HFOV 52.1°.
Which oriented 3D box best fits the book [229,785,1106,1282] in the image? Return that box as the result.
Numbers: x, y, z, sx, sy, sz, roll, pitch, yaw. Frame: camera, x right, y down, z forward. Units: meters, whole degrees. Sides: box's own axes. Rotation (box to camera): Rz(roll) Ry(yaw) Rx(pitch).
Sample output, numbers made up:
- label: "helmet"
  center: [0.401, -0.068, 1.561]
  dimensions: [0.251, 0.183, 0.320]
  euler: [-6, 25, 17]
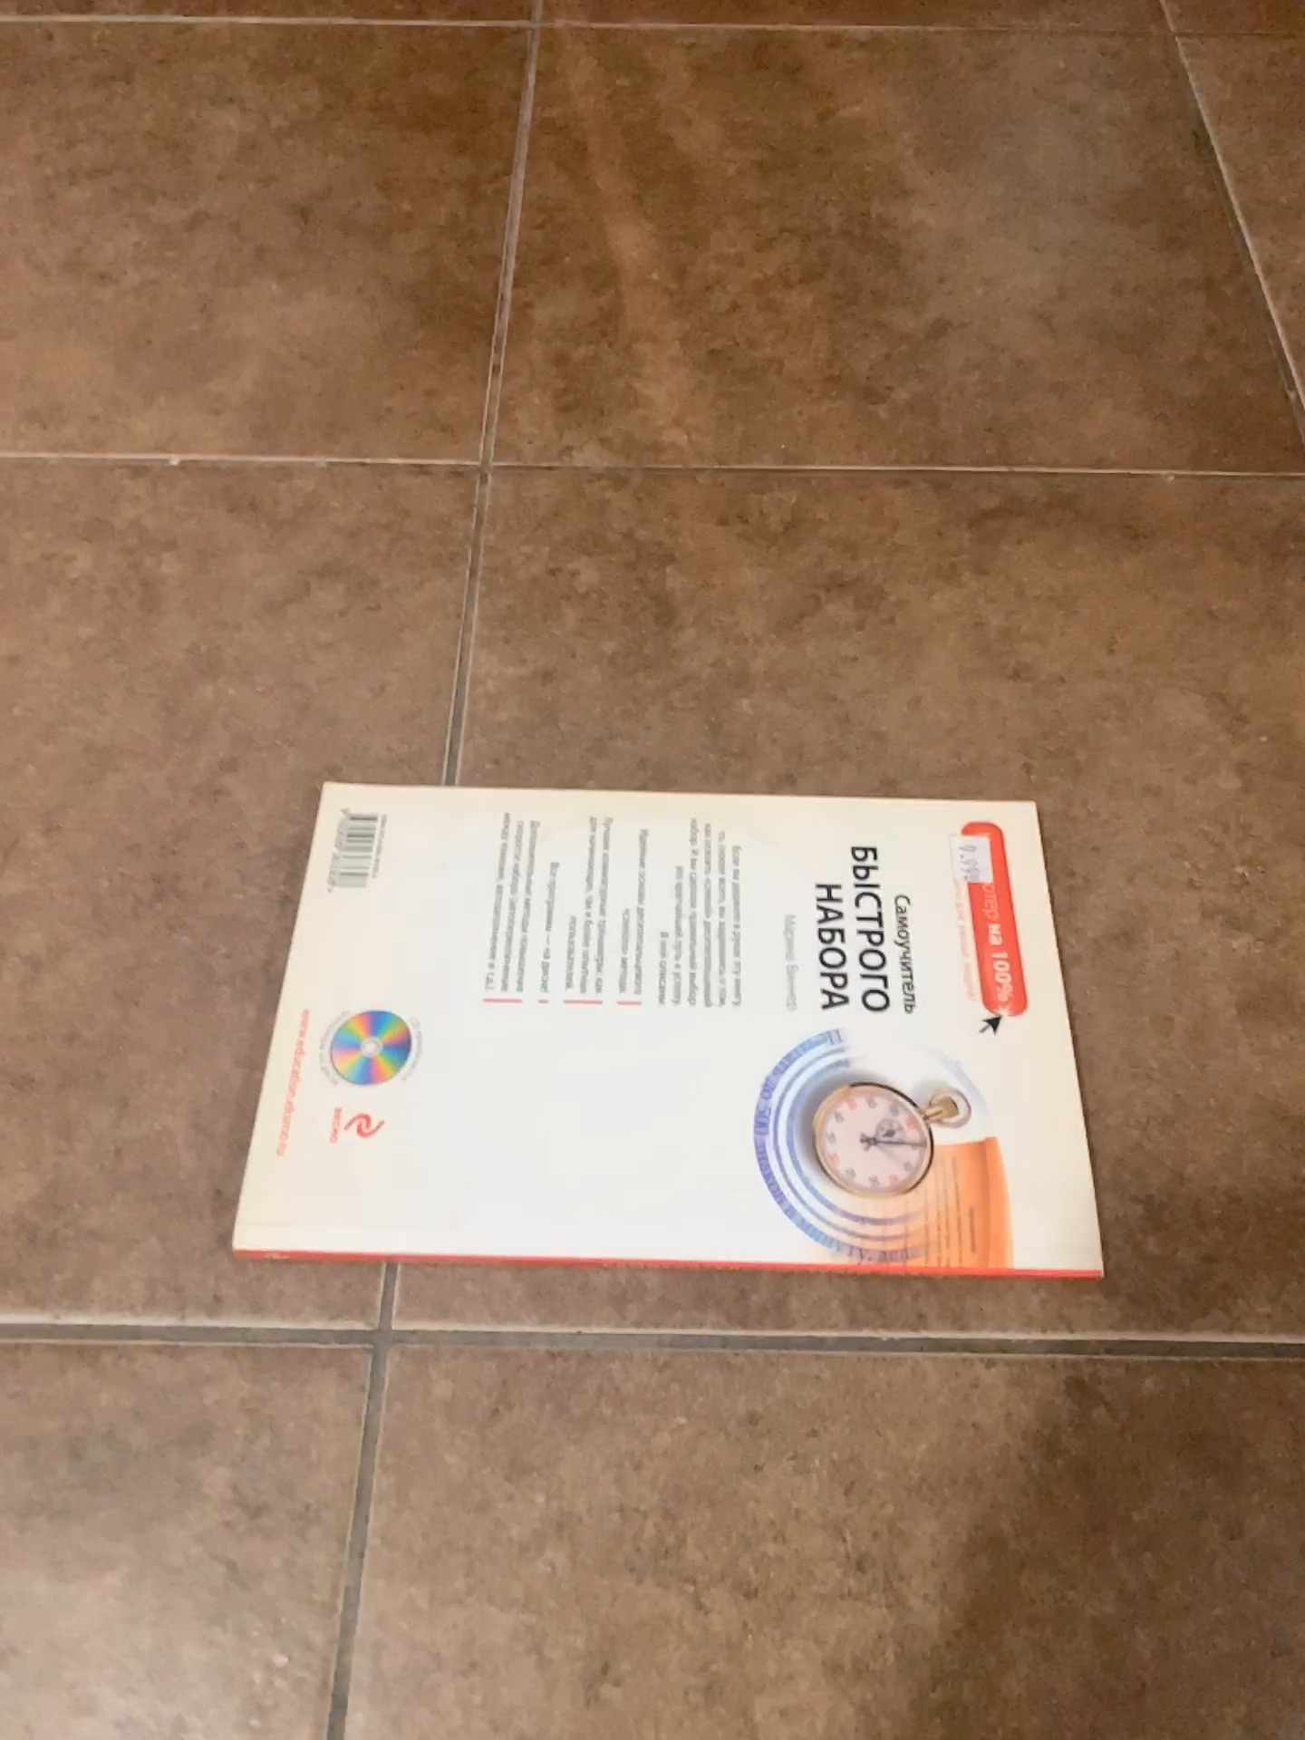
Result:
- label: "book"
  center: [0.005, 0.038, 0.358]
  dimensions: [0.210, 0.009, 0.134]
  euler: [2, 59, 1]
